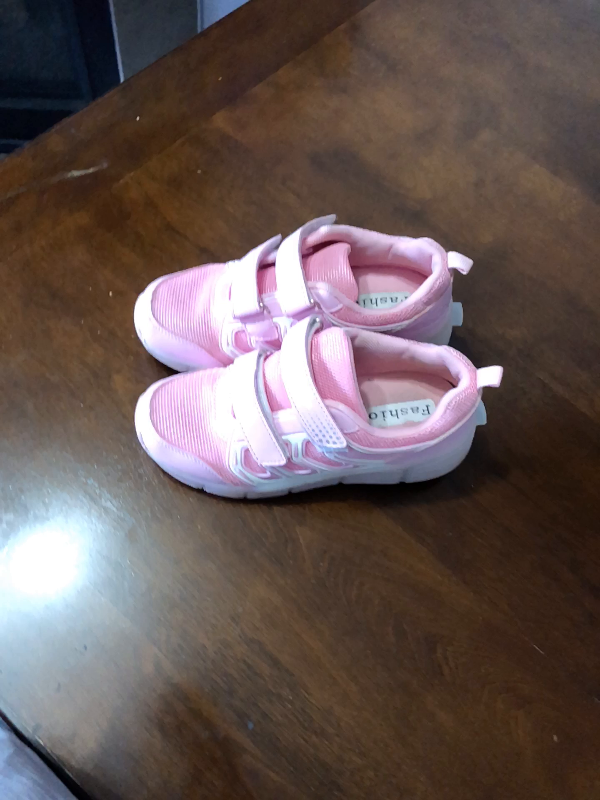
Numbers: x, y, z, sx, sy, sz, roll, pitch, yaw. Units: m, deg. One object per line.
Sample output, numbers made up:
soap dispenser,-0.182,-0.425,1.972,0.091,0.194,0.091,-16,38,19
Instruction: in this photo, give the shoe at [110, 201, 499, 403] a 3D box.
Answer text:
shoe,-0.001,-0.066,0.494,0.250,0.110,0.100,0,66,-8

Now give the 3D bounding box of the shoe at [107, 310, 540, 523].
shoe,0.009,0.014,0.466,0.260,0.110,0.110,-1,66,-8
